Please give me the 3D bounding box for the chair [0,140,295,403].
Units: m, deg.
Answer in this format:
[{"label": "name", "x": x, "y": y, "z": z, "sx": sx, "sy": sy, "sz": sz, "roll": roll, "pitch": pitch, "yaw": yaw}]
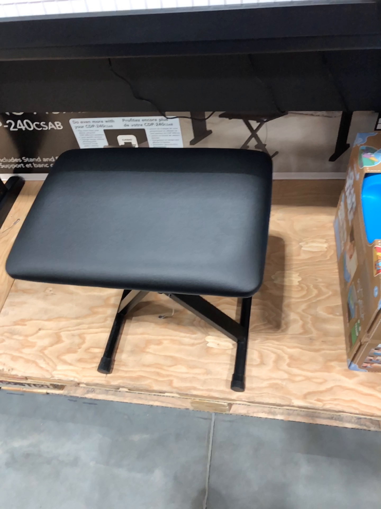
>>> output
[{"label": "chair", "x": -0.079, "y": 0.019, "z": 0.799, "sx": 0.510, "sy": 0.279, "sz": 0.371, "roll": 4, "pitch": 55, "yaw": 11}]
